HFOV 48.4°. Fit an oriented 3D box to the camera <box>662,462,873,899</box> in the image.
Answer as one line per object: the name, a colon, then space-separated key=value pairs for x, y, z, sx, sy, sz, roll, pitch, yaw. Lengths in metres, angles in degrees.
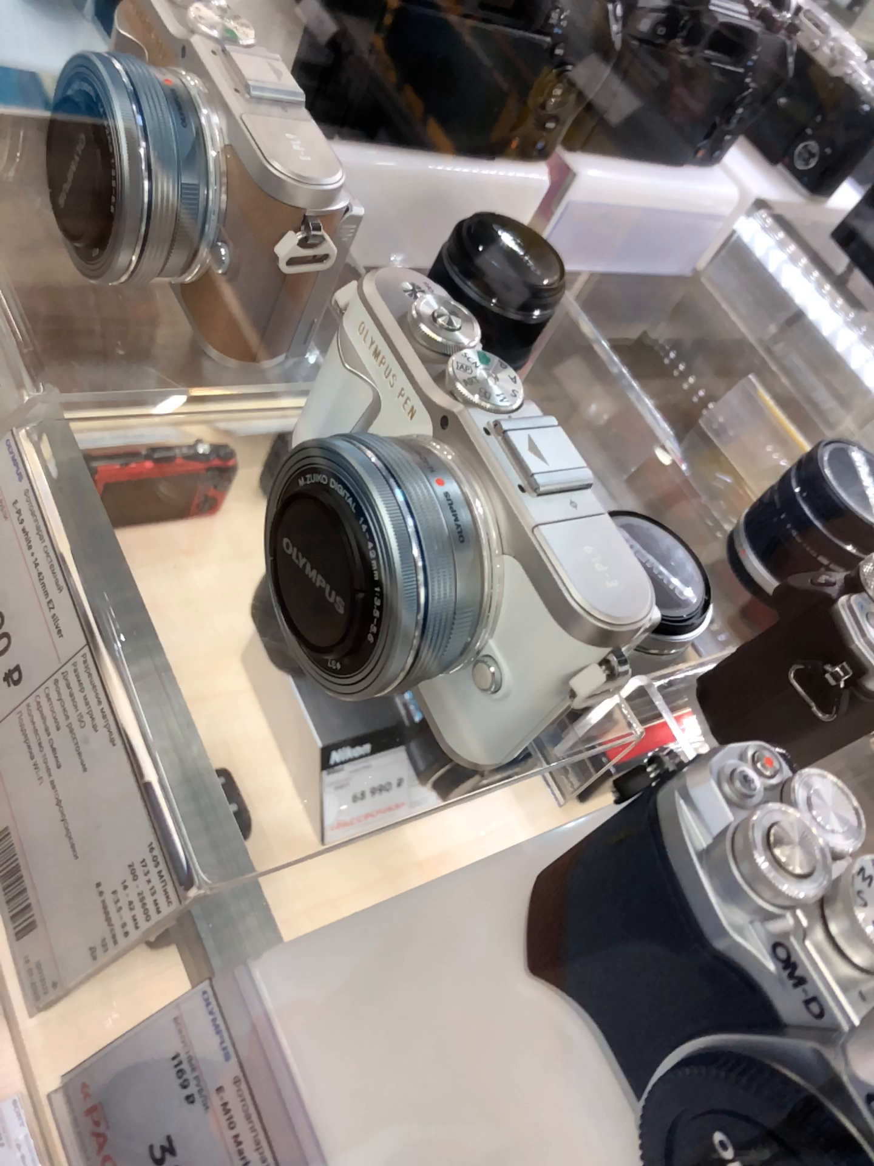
camera: x=0.140 y=0.022 z=0.273 sx=0.115 sy=0.072 sz=0.072 roll=-12 pitch=60 yaw=-37

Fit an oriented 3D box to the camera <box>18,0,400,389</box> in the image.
camera: x=-0.069 y=-0.114 z=0.274 sx=0.061 sy=0.072 sz=0.087 roll=-13 pitch=61 yaw=-37

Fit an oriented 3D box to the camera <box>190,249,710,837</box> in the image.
camera: x=-0.005 y=-0.013 z=0.233 sx=0.053 sy=0.070 sz=0.114 roll=-13 pitch=61 yaw=-37

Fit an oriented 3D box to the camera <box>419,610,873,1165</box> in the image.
camera: x=0.059 y=0.076 z=0.165 sx=0.053 sy=0.072 sz=0.114 roll=-13 pitch=61 yaw=-37
